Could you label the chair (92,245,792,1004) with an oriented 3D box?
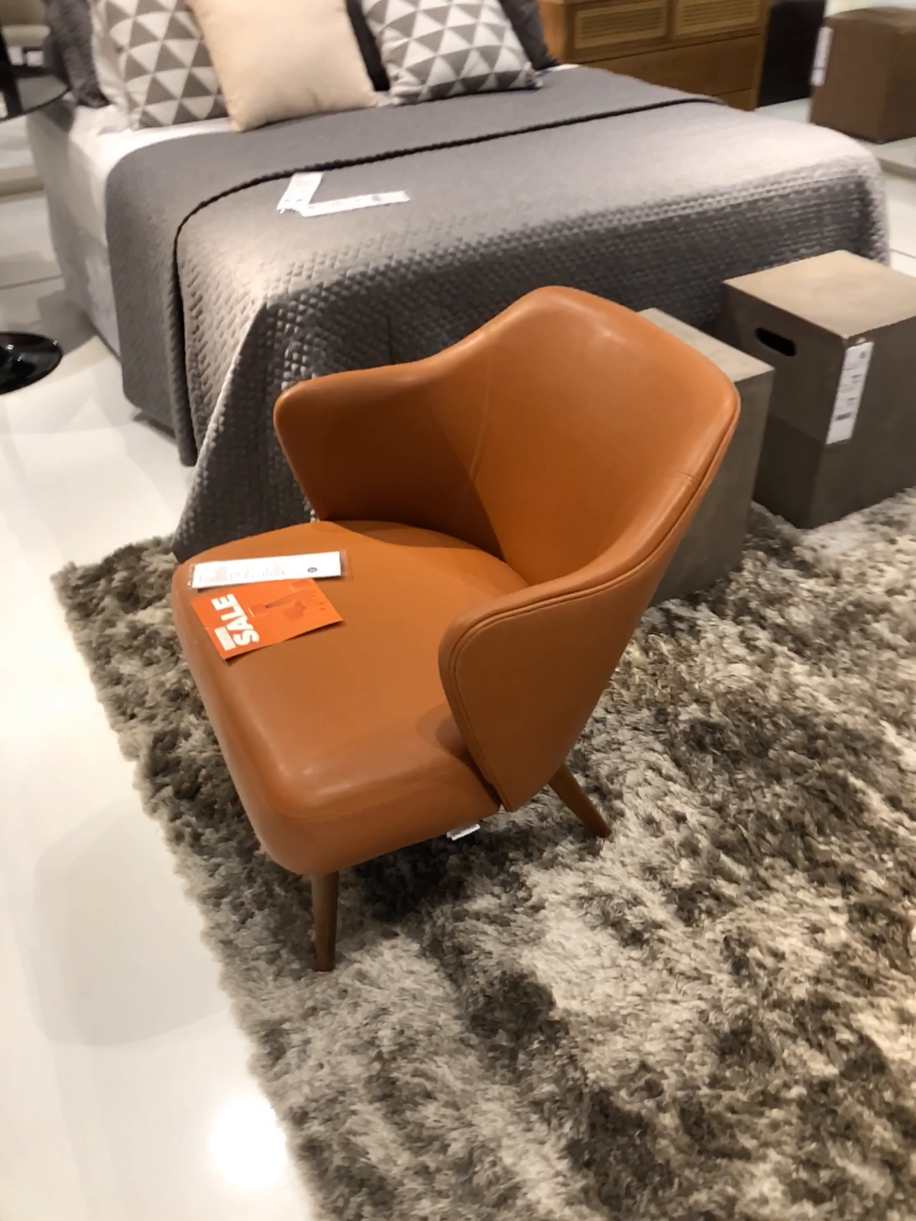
[{"bbox_3d":[-0.050,-0.020,1.405,0.651,0.704,0.594,-17,40,-18],"label":"chair"}]
